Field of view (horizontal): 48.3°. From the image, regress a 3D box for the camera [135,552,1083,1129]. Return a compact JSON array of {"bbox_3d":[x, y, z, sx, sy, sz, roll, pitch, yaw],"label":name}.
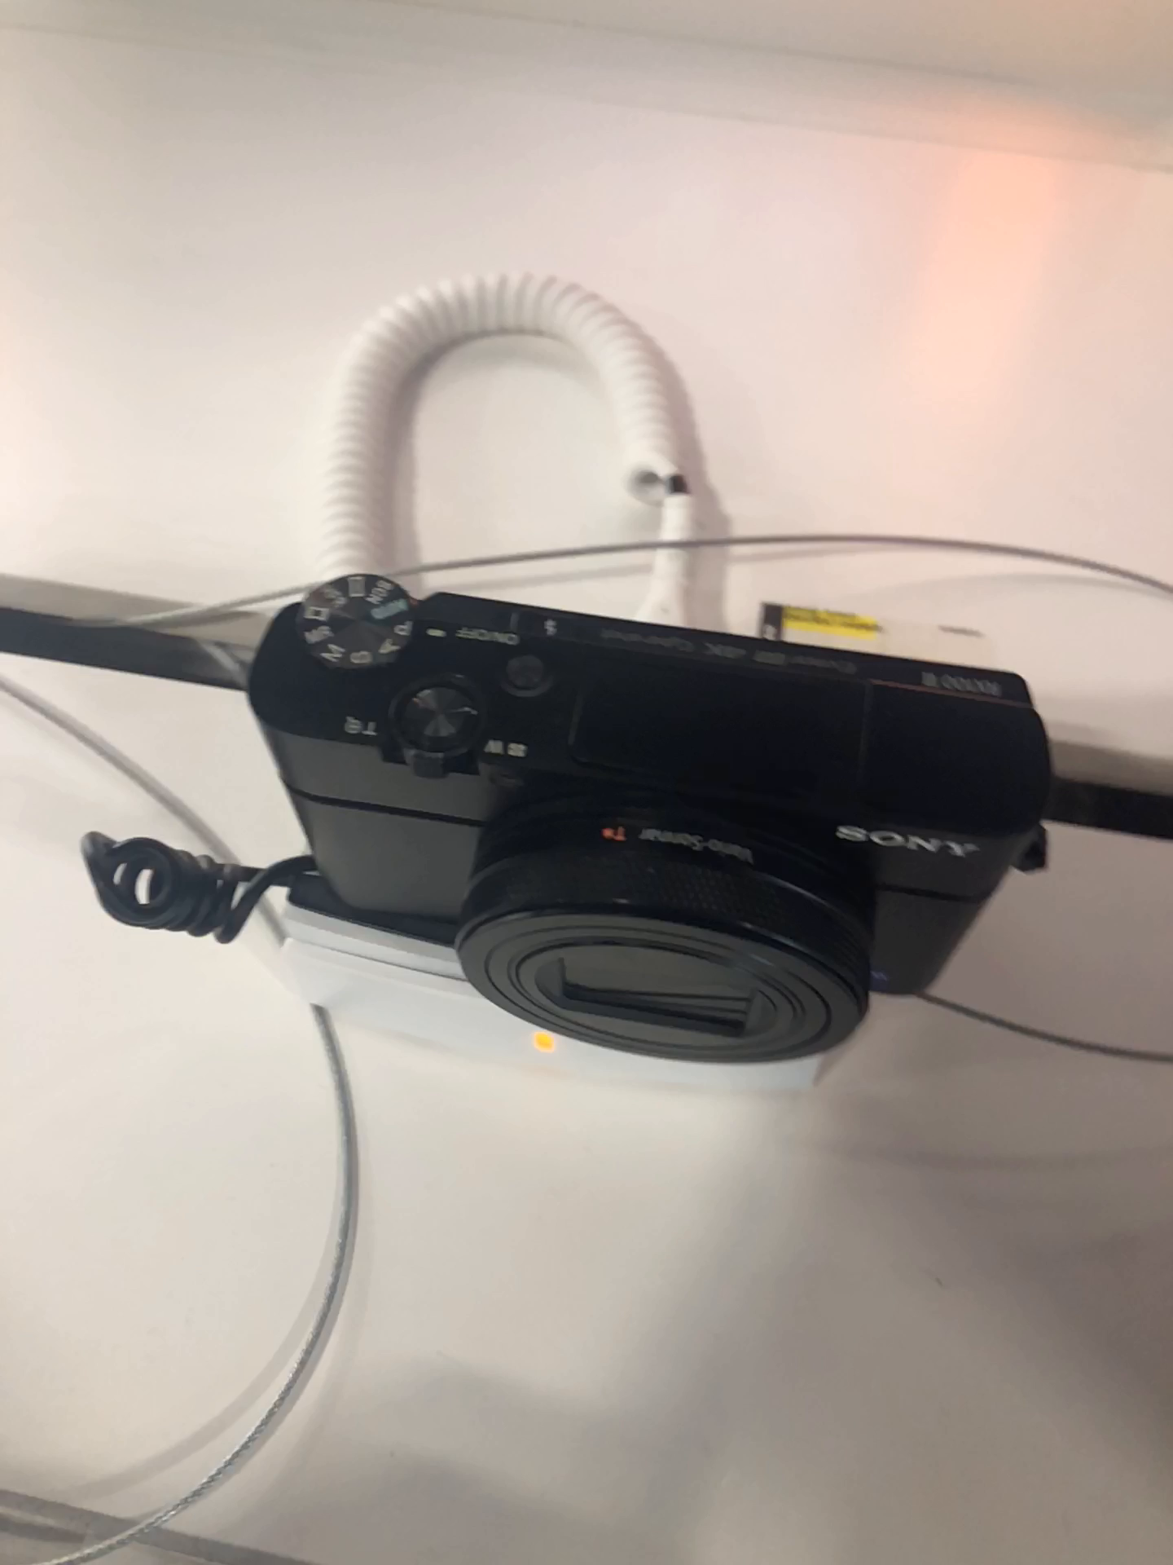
[{"bbox_3d":[0.004,0.010,0.184,0.109,0.060,0.040,9,58,4],"label":"camera"}]
